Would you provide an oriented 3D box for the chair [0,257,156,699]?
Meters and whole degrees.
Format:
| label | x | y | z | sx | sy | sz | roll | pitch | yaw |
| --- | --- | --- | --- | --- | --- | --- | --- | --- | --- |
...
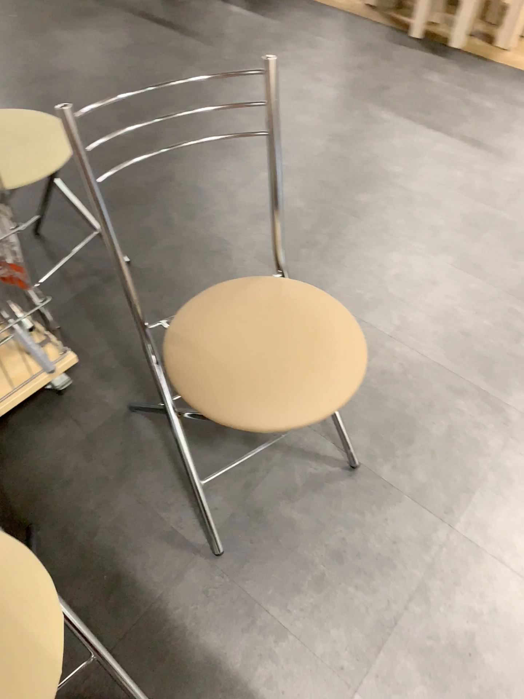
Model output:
| label | x | y | z | sx | sy | sz | roll | pitch | yaw |
| --- | --- | --- | --- | --- | --- | --- | --- | --- | --- |
| chair | -0.539 | 0.421 | 0.669 | 0.491 | 0.776 | 0.522 | 38 | 59 | 24 |

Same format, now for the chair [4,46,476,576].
| label | x | y | z | sx | sy | sz | roll | pitch | yaw |
| --- | --- | --- | --- | --- | --- | --- | --- | --- | --- |
| chair | -0.062 | -0.023 | 1.034 | 0.441 | 0.796 | 0.491 | -27 | 57 | -22 |
